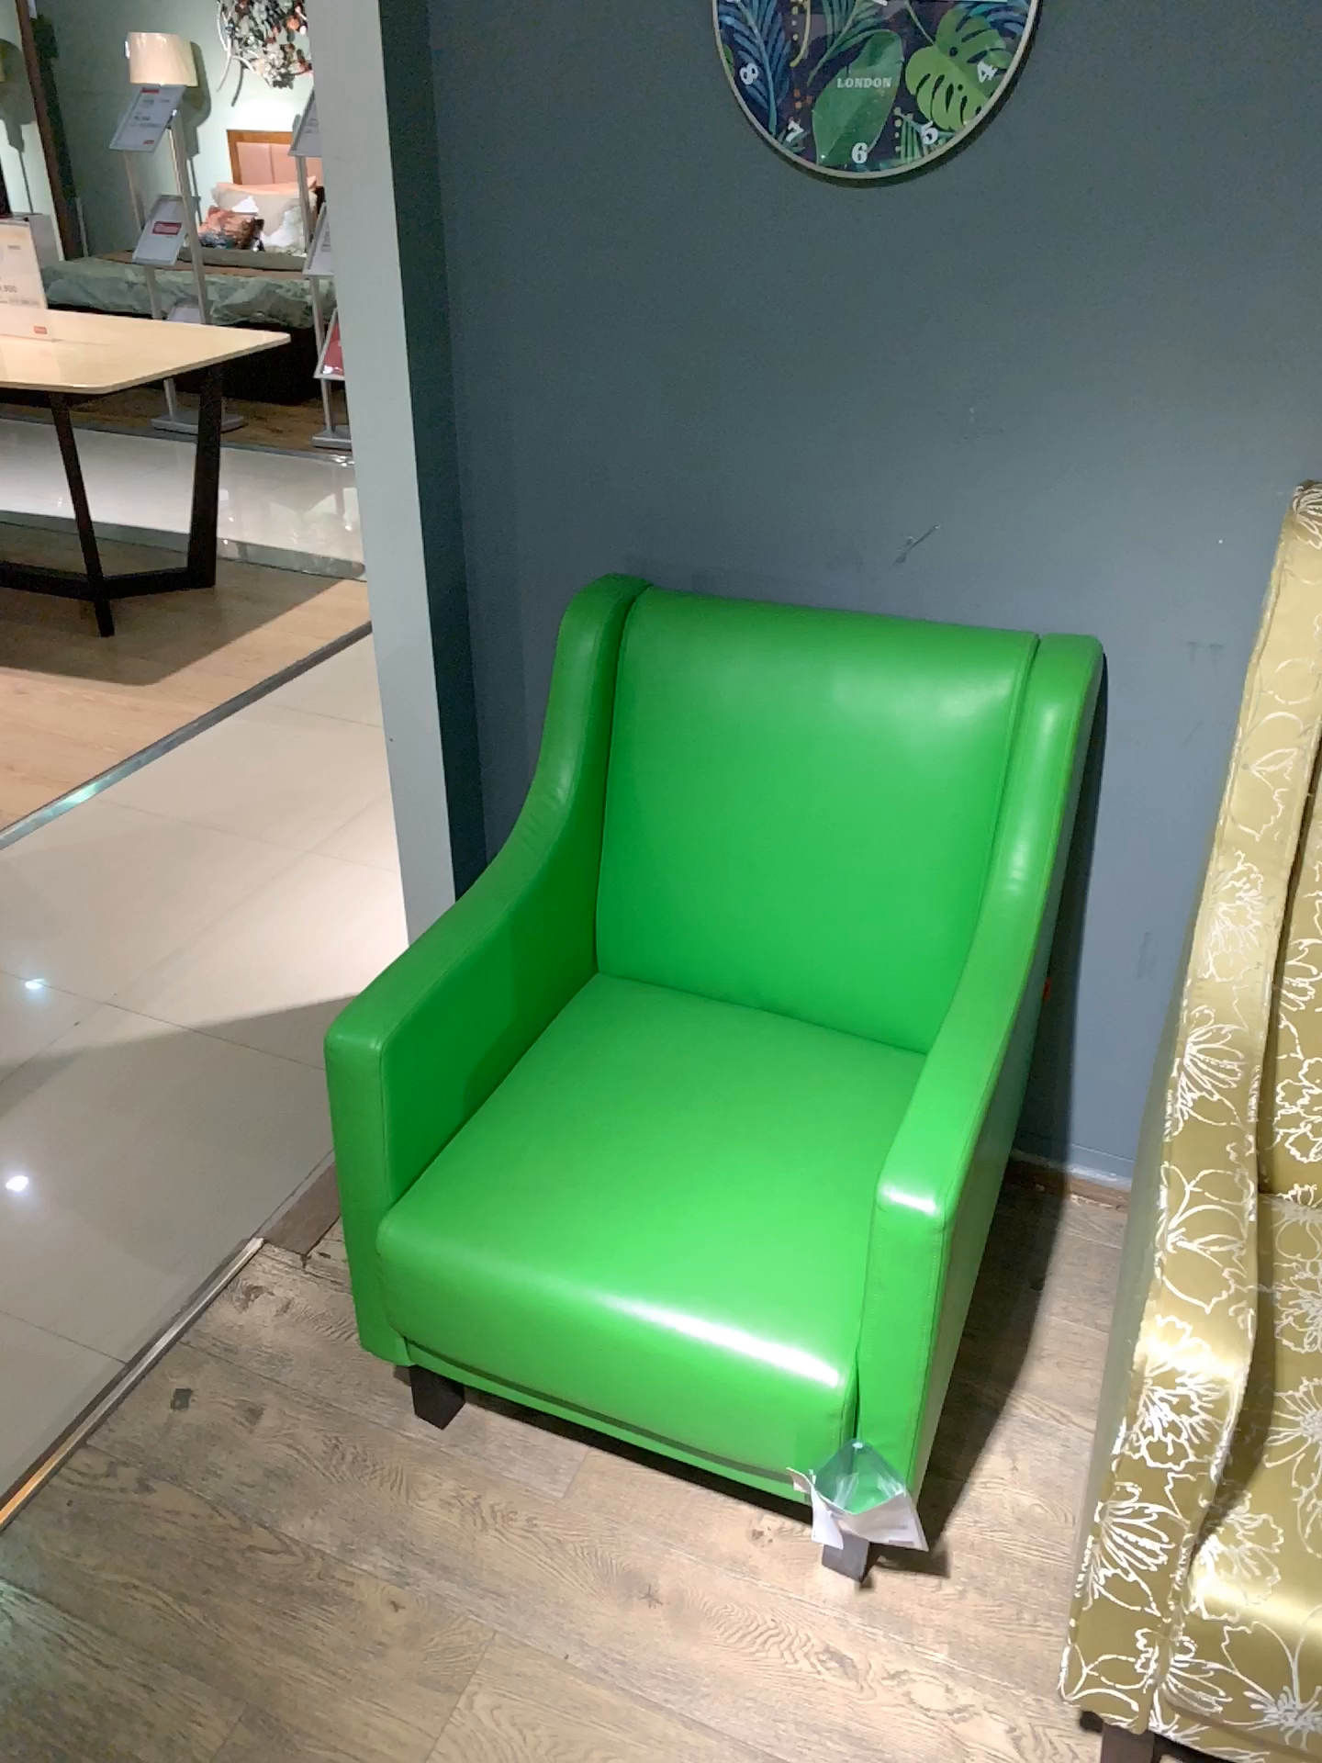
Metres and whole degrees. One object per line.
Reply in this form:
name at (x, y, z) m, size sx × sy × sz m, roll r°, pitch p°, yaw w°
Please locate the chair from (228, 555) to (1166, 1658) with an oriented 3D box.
chair at (0.106, 0.164, 1.567) m, size 0.711 × 0.787 × 0.813 m, roll 12°, pitch 33°, yaw 19°
